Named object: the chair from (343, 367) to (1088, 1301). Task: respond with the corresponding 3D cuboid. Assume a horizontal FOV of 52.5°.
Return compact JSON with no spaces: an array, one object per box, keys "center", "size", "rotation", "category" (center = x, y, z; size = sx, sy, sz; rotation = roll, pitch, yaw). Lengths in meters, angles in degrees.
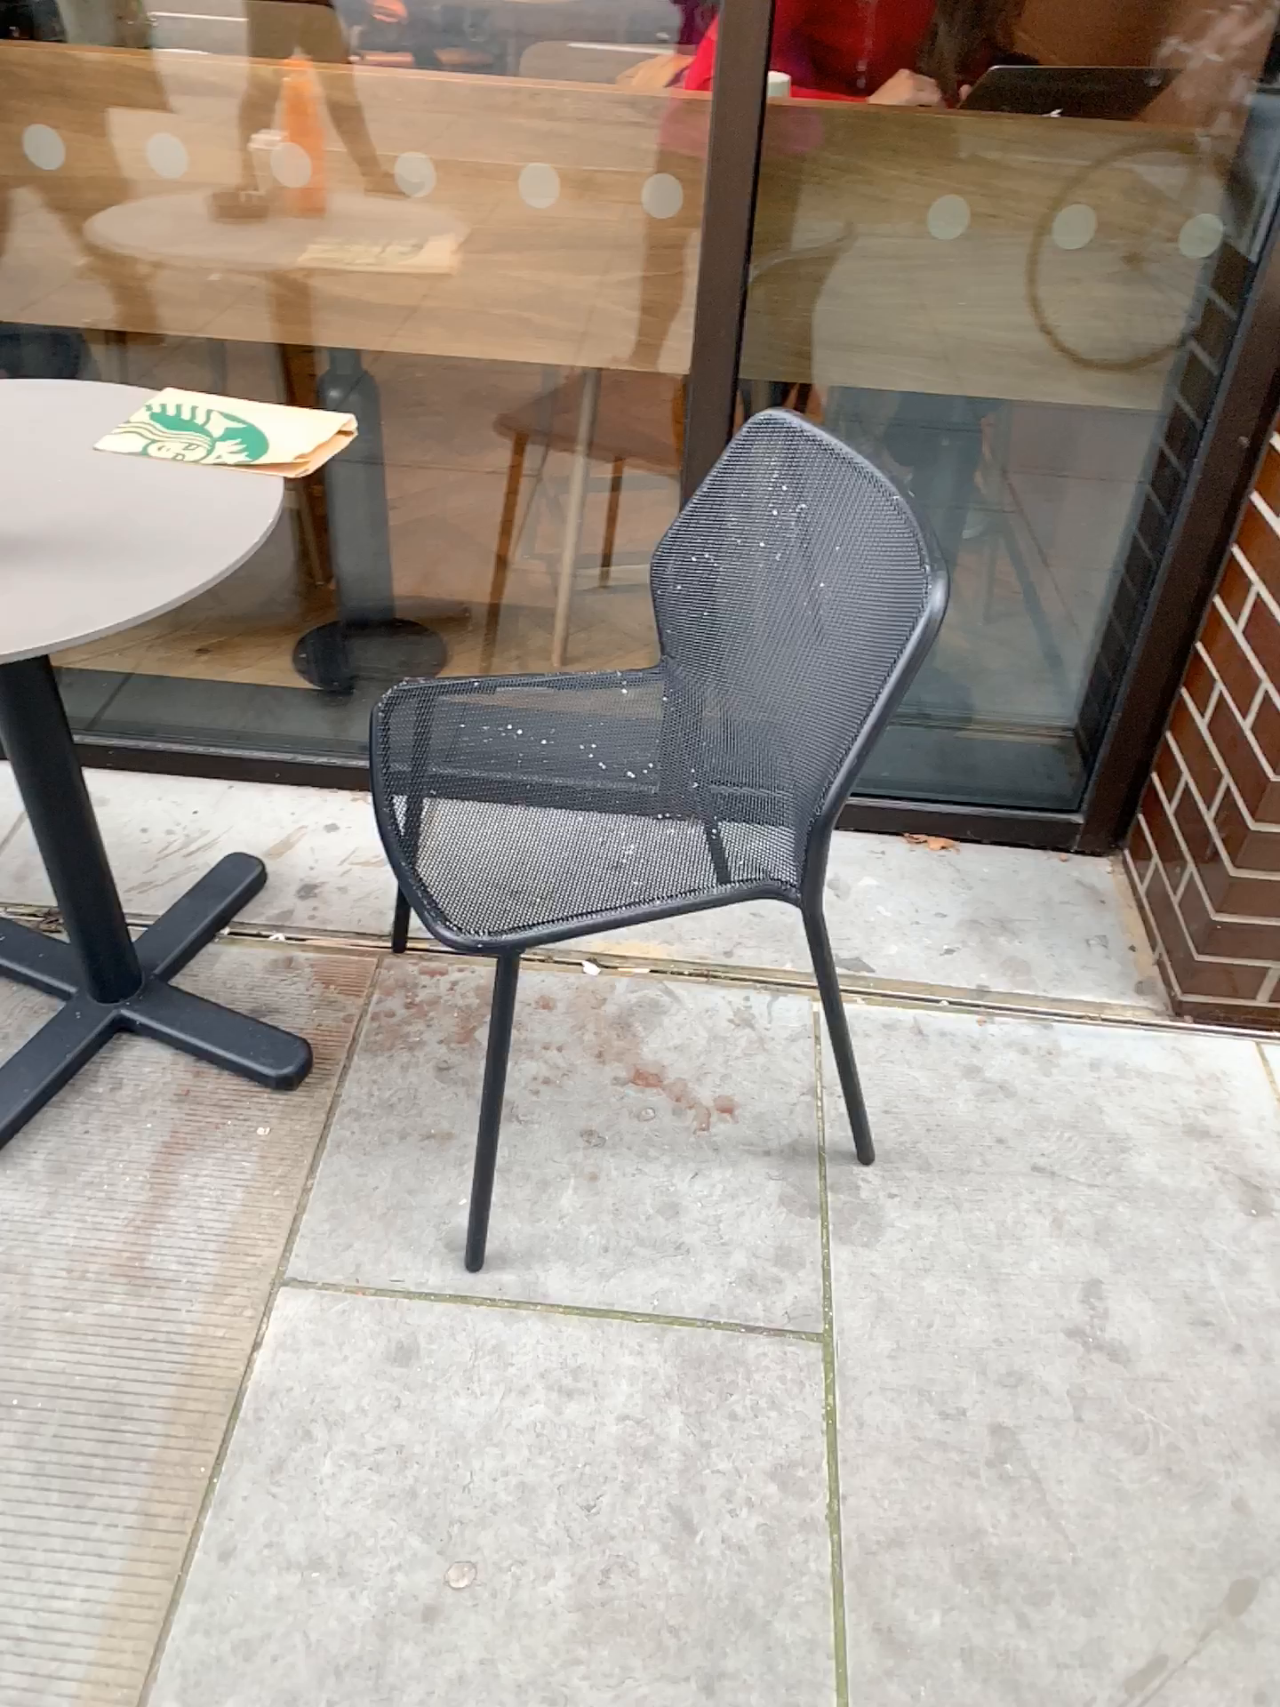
[{"center":[0.005,-0.040,1.477],"size":[0.540,0.797,0.595],"rotation":[-8,40,-16],"category":"chair"}]
